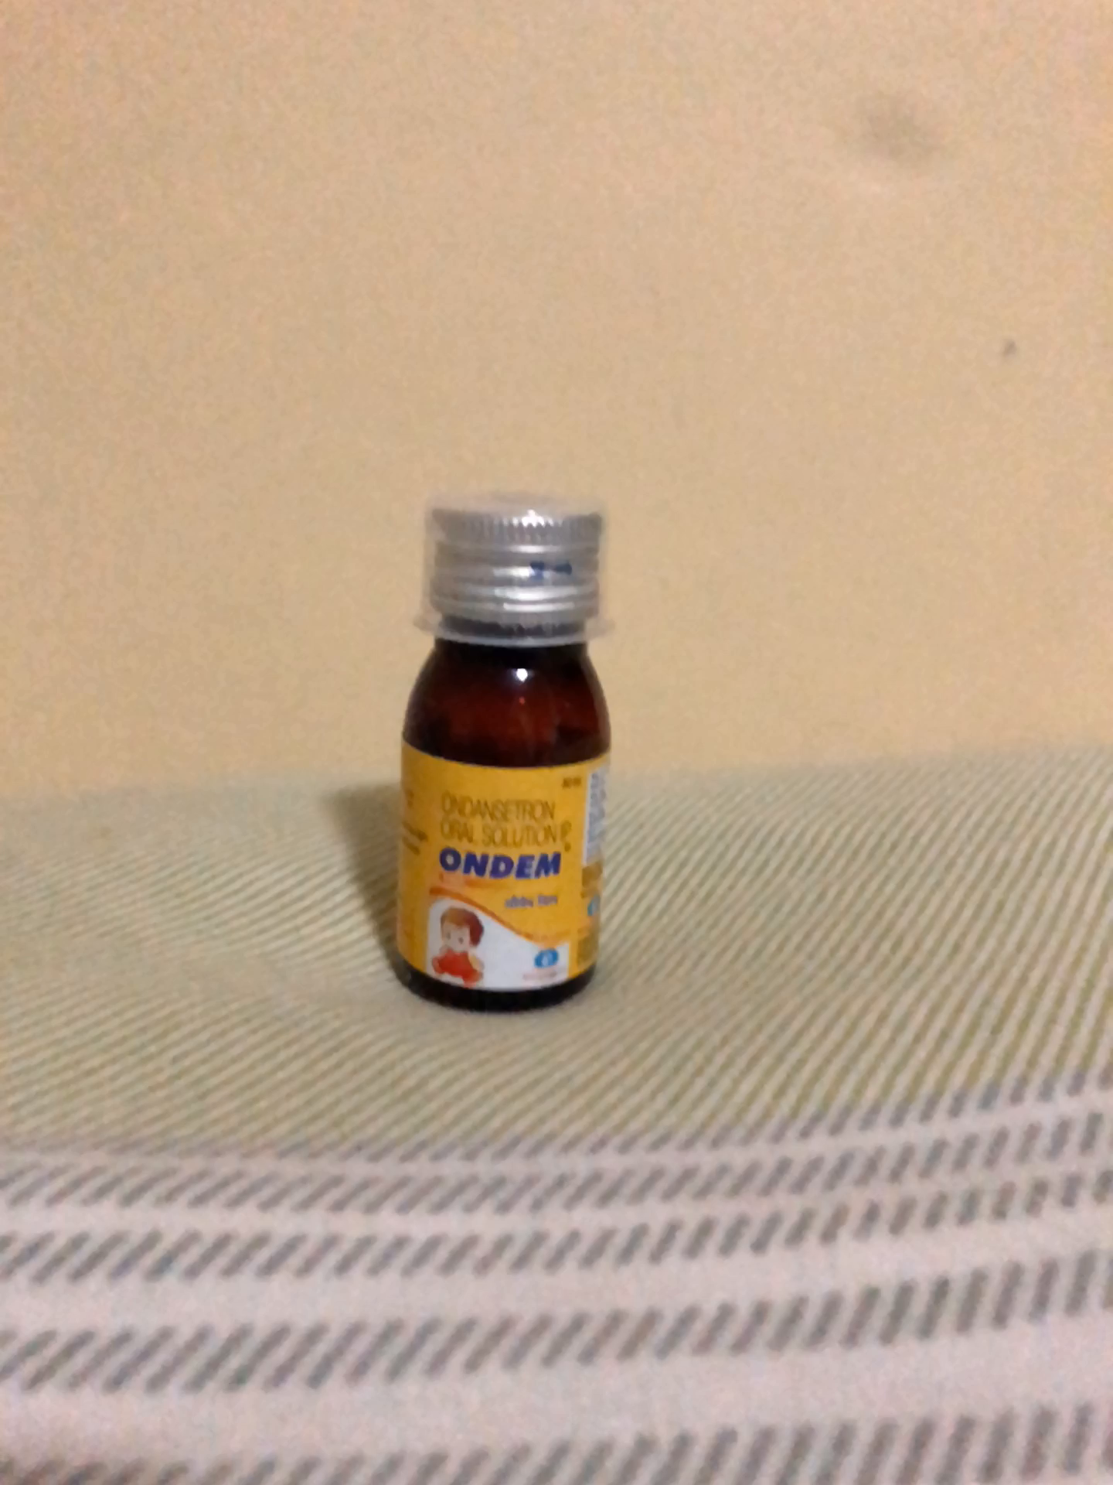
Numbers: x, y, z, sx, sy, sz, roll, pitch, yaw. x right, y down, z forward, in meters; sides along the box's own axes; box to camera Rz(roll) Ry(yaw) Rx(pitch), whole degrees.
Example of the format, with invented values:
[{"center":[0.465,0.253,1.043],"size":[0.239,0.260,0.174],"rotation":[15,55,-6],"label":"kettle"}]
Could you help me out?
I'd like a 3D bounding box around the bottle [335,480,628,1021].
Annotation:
[{"center":[-0.010,-0.001,0.198],"size":[0.037,0.076,0.038],"rotation":[0,16,0],"label":"bottle"}]
